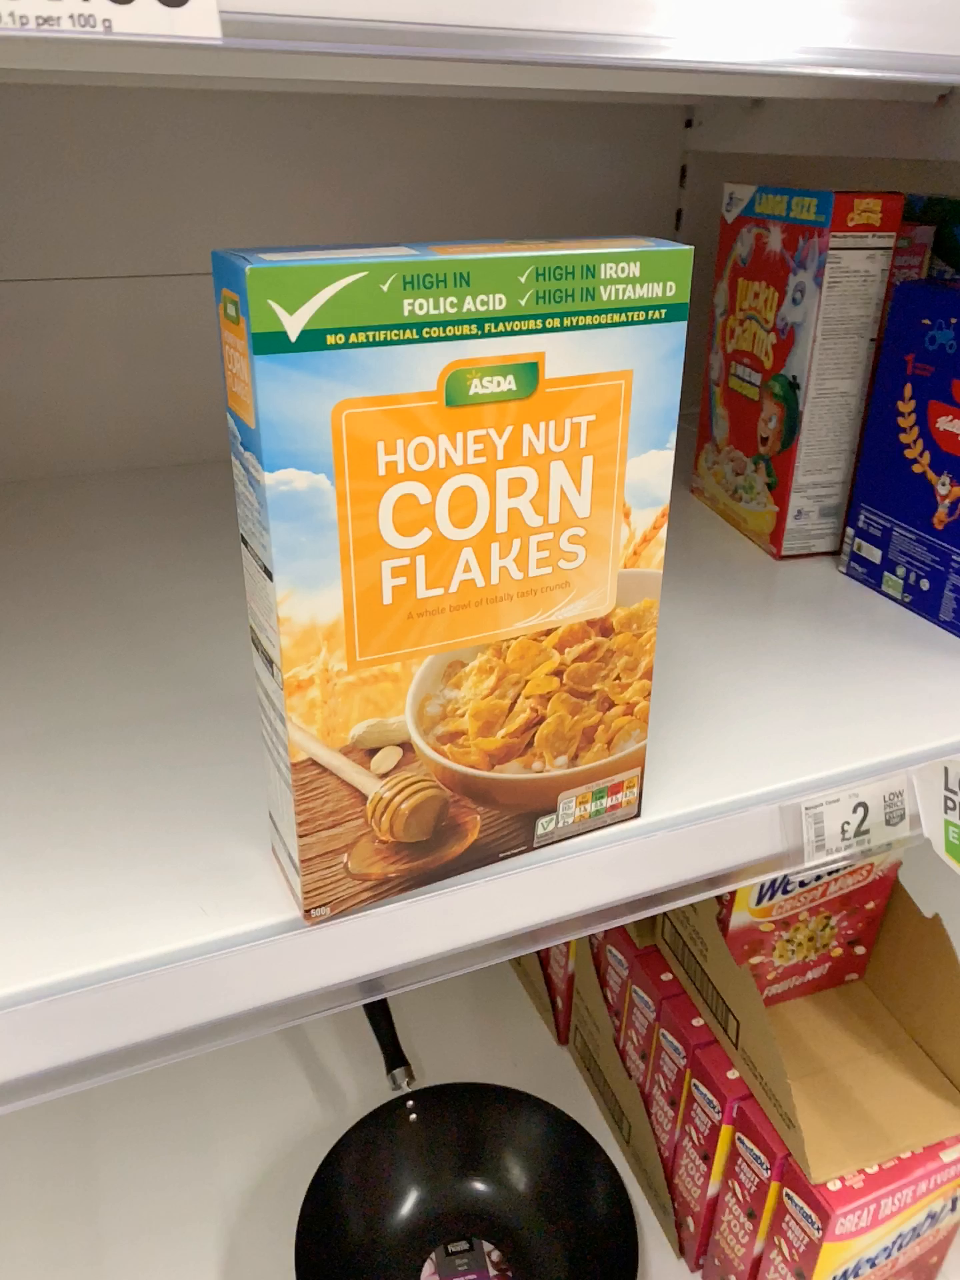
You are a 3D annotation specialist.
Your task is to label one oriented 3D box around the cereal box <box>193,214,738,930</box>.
[{"bbox_3d":[-0.005,-0.032,0.445,0.201,0.287,0.070,-12,29,-24],"label":"cereal box"}]
